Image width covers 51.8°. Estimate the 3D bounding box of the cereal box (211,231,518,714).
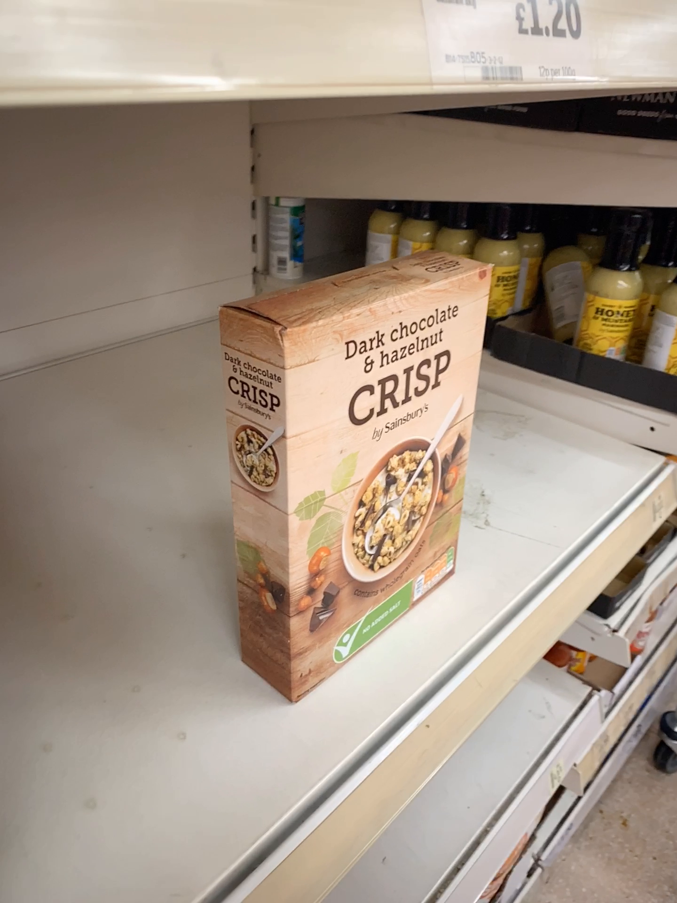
[{"bbox_3d":[0.021,0.006,0.442,0.060,0.248,0.191,24,36,36],"label":"cereal box"}]
